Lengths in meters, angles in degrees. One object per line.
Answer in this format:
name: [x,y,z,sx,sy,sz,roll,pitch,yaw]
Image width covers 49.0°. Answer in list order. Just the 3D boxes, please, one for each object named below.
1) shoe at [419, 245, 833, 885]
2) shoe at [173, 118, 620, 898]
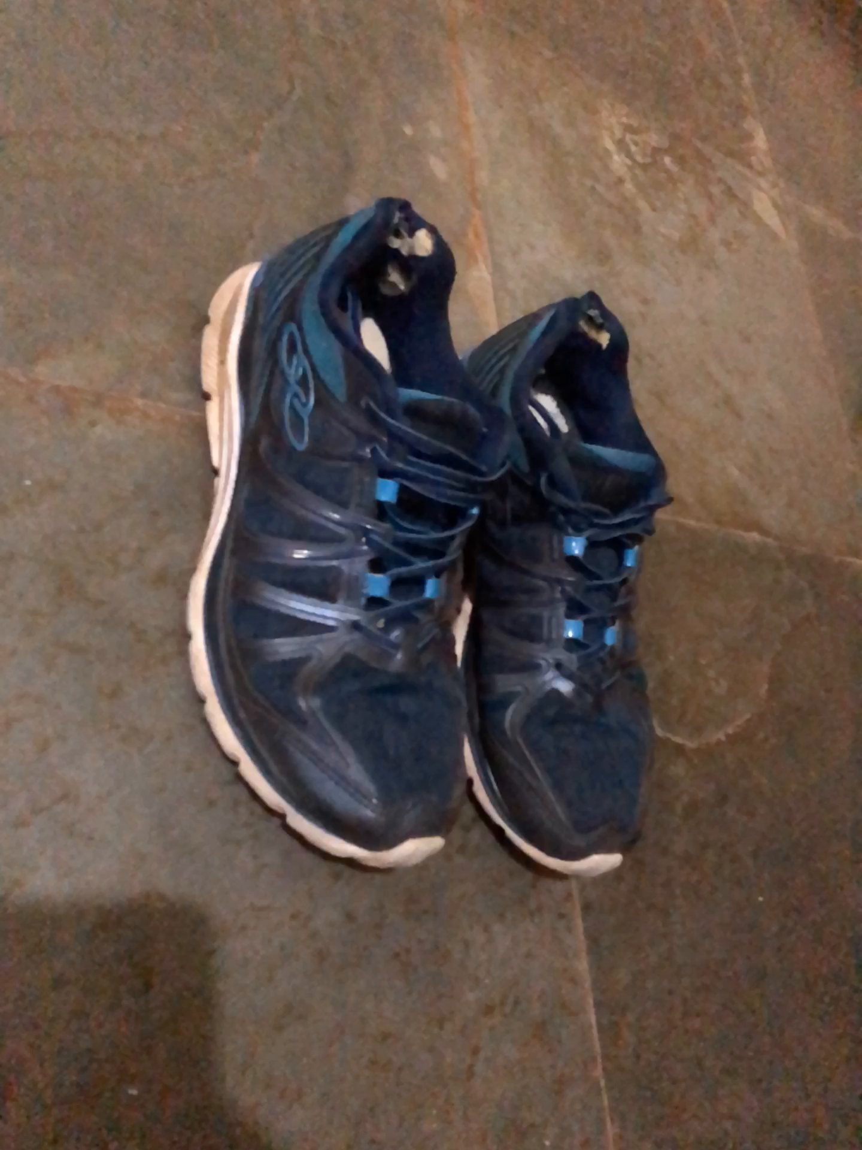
shoe: [0.086,0.001,0.475,0.121,0.109,0.281,9,65,-35]
shoe: [-0.027,-0.022,0.397,0.121,0.109,0.281,8,66,-35]
